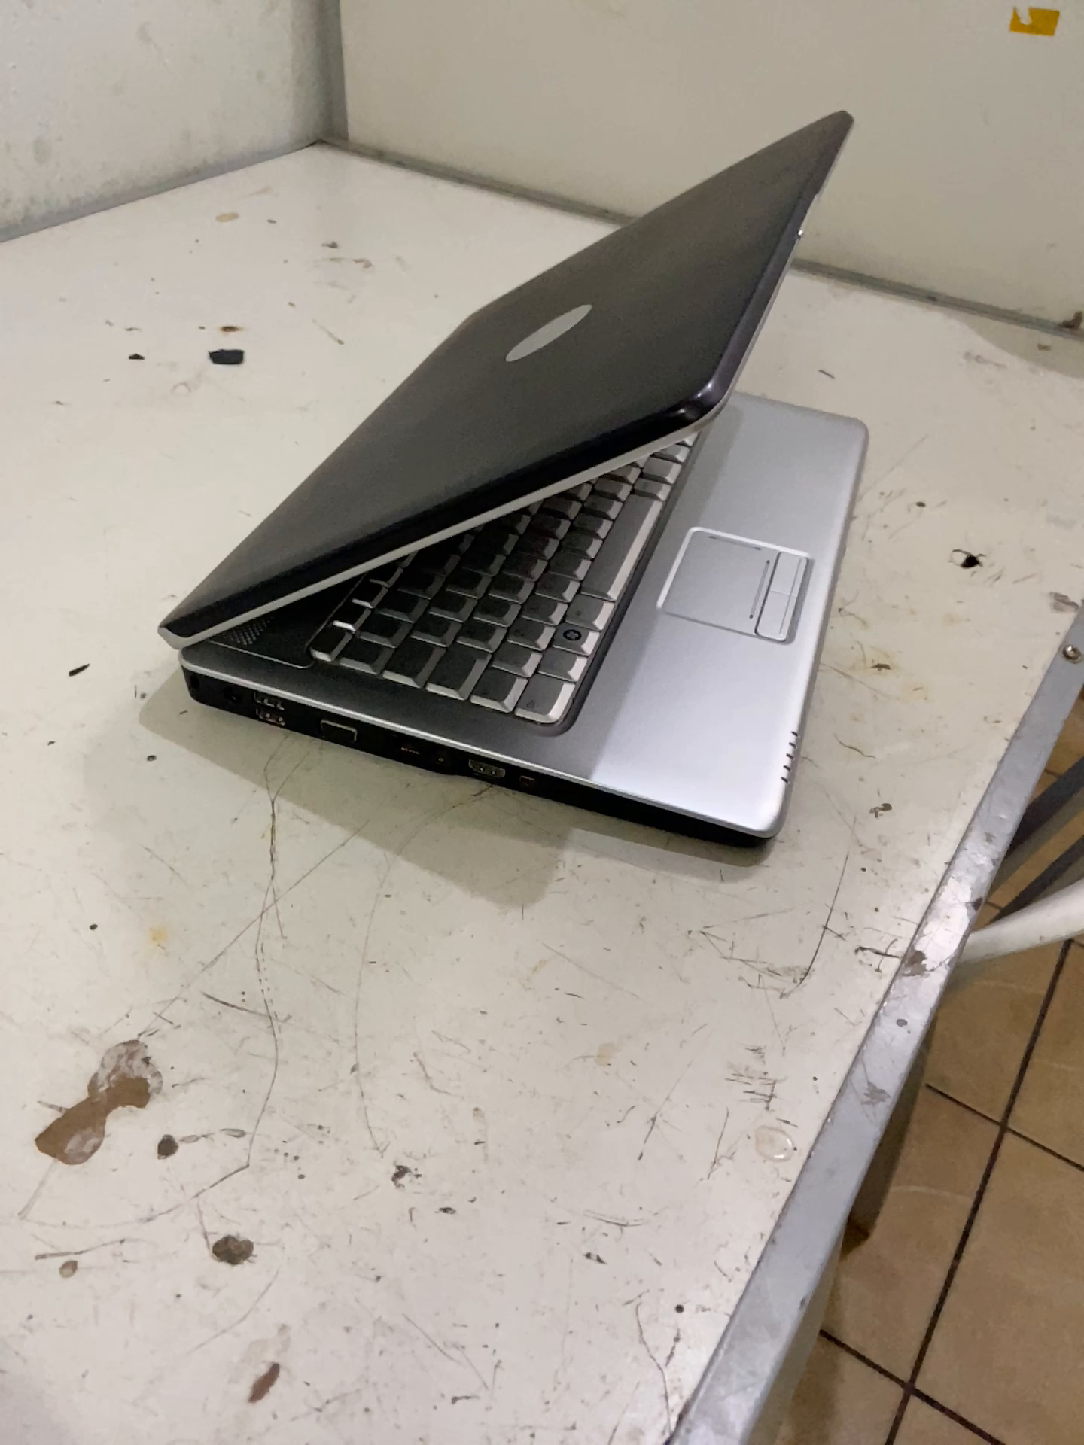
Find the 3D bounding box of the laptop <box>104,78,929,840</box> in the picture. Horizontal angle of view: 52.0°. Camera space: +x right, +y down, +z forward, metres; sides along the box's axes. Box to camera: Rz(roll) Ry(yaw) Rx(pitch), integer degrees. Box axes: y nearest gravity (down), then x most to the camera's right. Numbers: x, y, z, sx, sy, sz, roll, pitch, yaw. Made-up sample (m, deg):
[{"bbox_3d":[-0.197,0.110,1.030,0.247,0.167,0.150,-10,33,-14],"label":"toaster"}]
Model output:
[{"bbox_3d":[0.026,-0.153,0.497,0.237,0.145,0.349,15,42,10],"label":"laptop"}]
